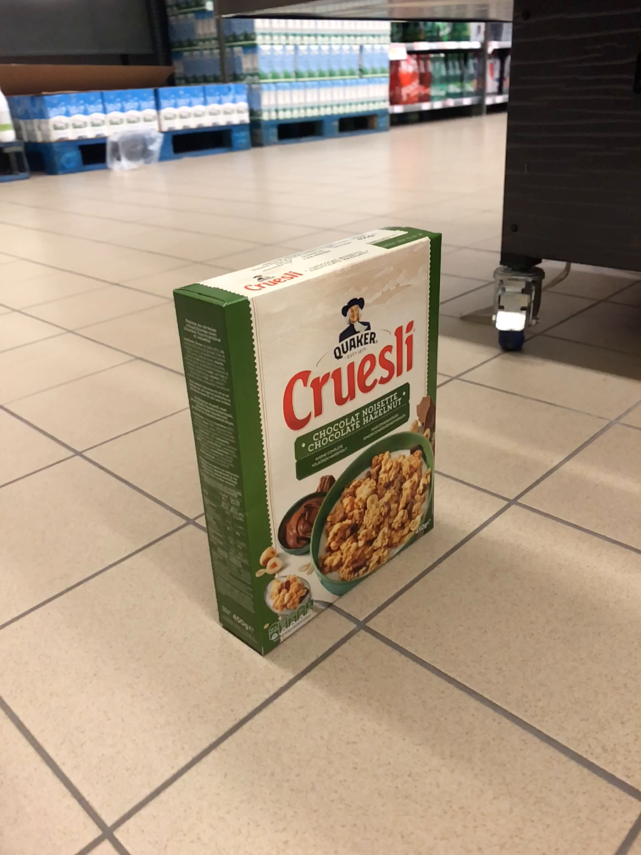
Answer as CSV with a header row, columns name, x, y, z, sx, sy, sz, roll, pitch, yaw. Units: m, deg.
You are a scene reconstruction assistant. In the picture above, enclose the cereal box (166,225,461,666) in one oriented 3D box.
name,x,y,z,sx,sy,sz,roll,pitch,yaw
cereal box,0.012,0.004,0.480,0.191,0.239,0.060,-26,33,-37
